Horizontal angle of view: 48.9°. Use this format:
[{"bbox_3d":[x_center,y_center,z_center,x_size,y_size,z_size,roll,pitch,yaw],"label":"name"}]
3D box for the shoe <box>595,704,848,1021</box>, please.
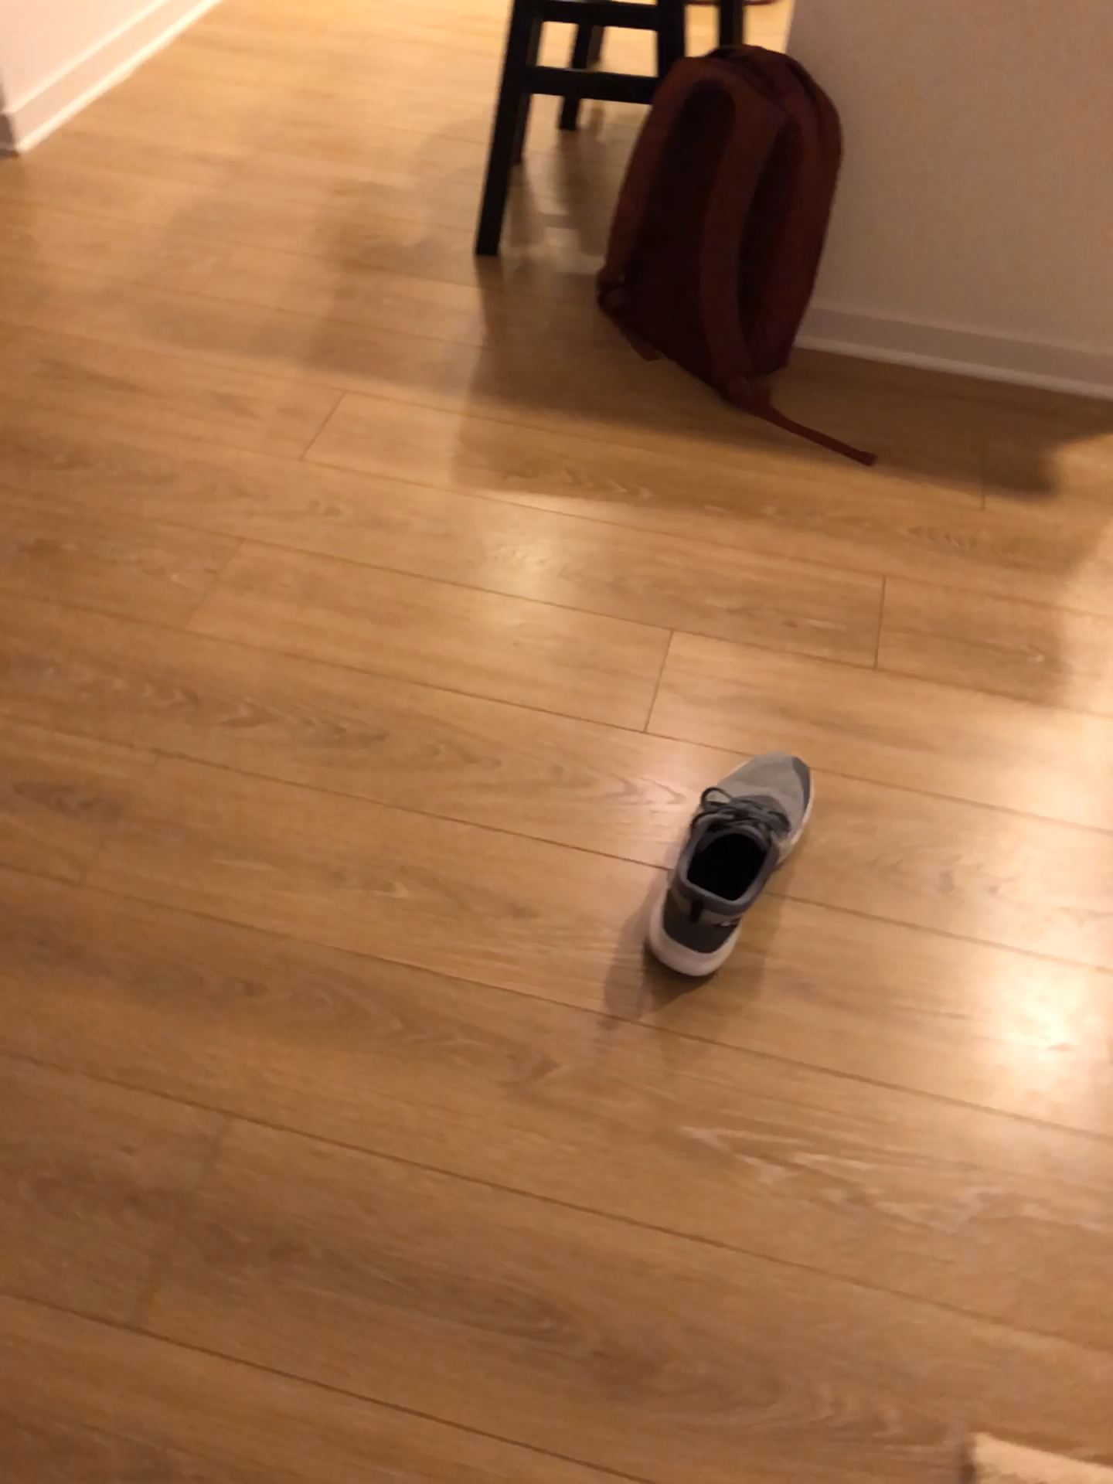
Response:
[{"bbox_3d":[0.177,0.114,1.275,0.140,0.080,0.322,23,51,16],"label":"shoe"}]
